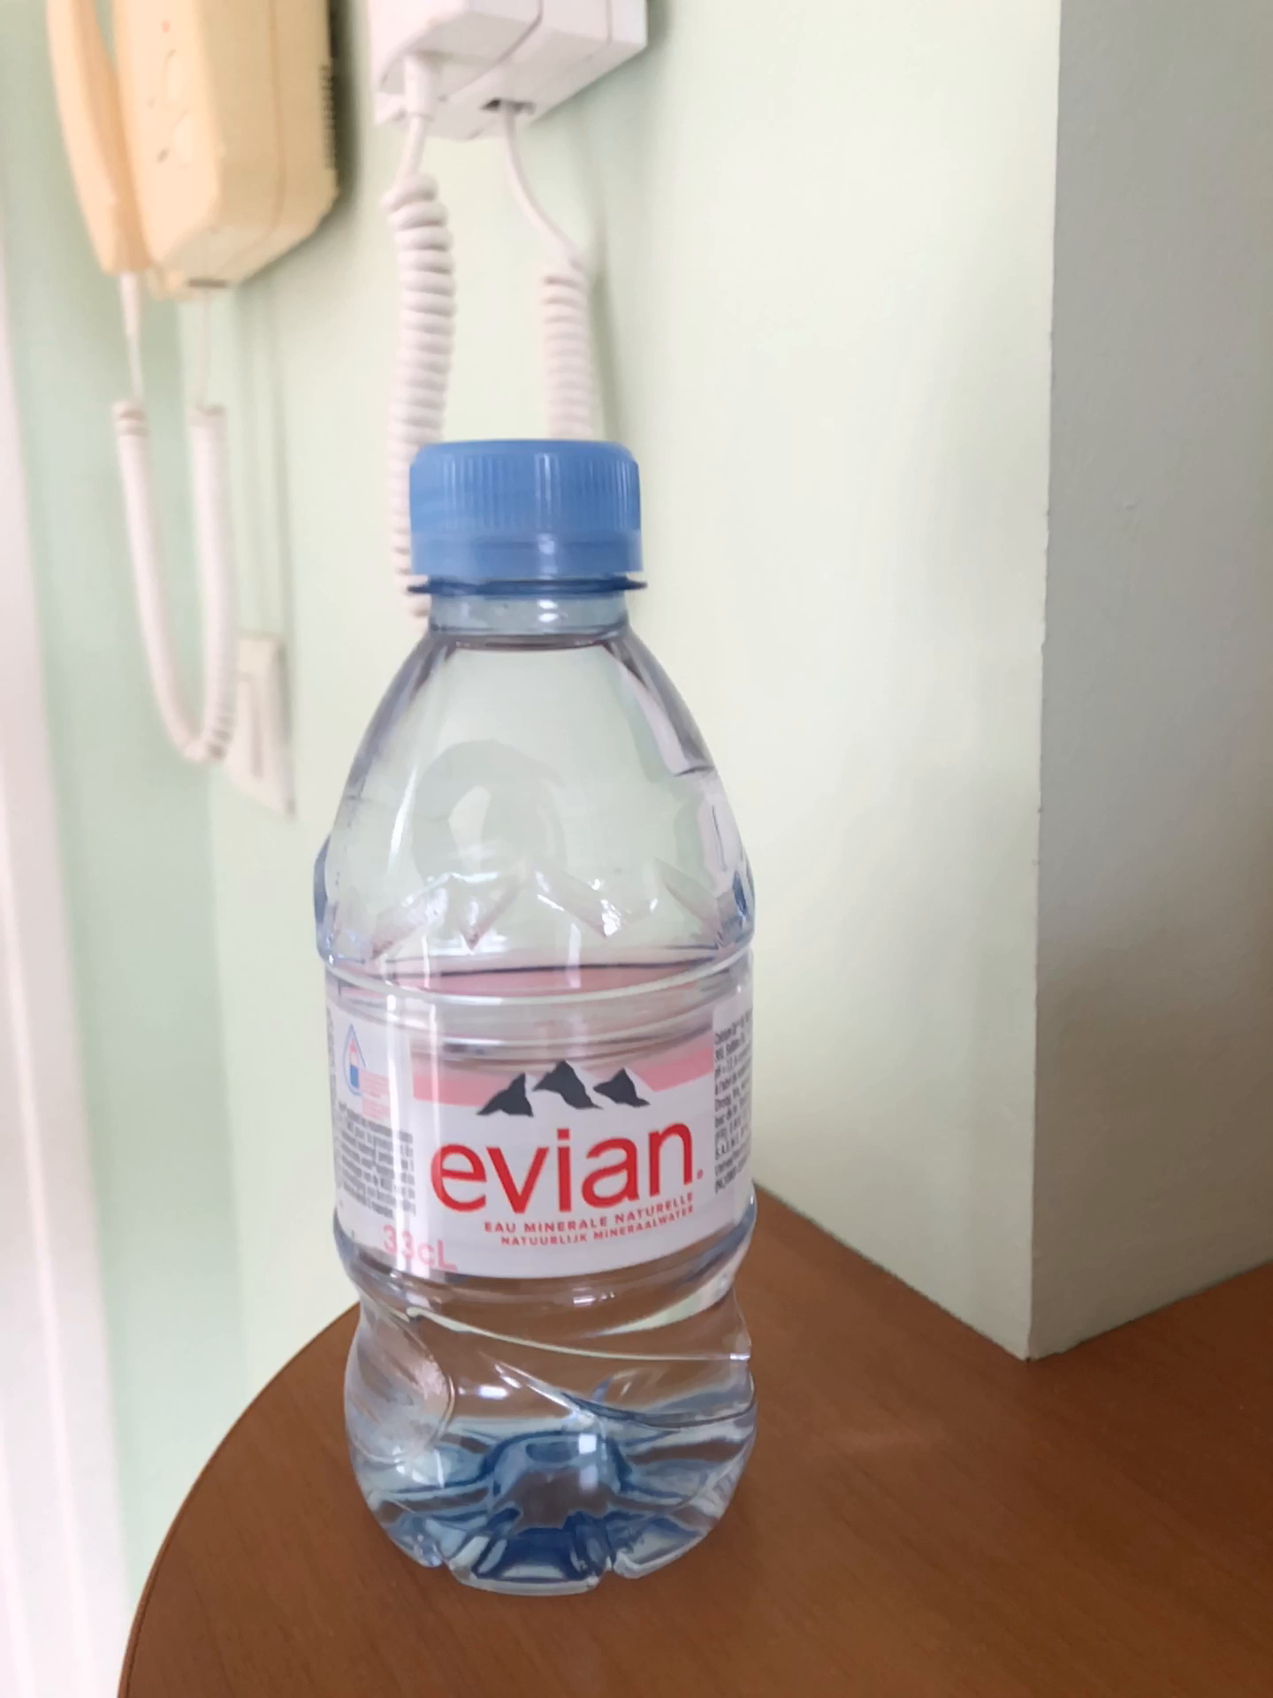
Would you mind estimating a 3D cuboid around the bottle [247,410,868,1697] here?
[{"bbox_3d":[-0.012,0.023,0.209,0.070,0.160,0.070,-1,10,0],"label":"bottle"}]
